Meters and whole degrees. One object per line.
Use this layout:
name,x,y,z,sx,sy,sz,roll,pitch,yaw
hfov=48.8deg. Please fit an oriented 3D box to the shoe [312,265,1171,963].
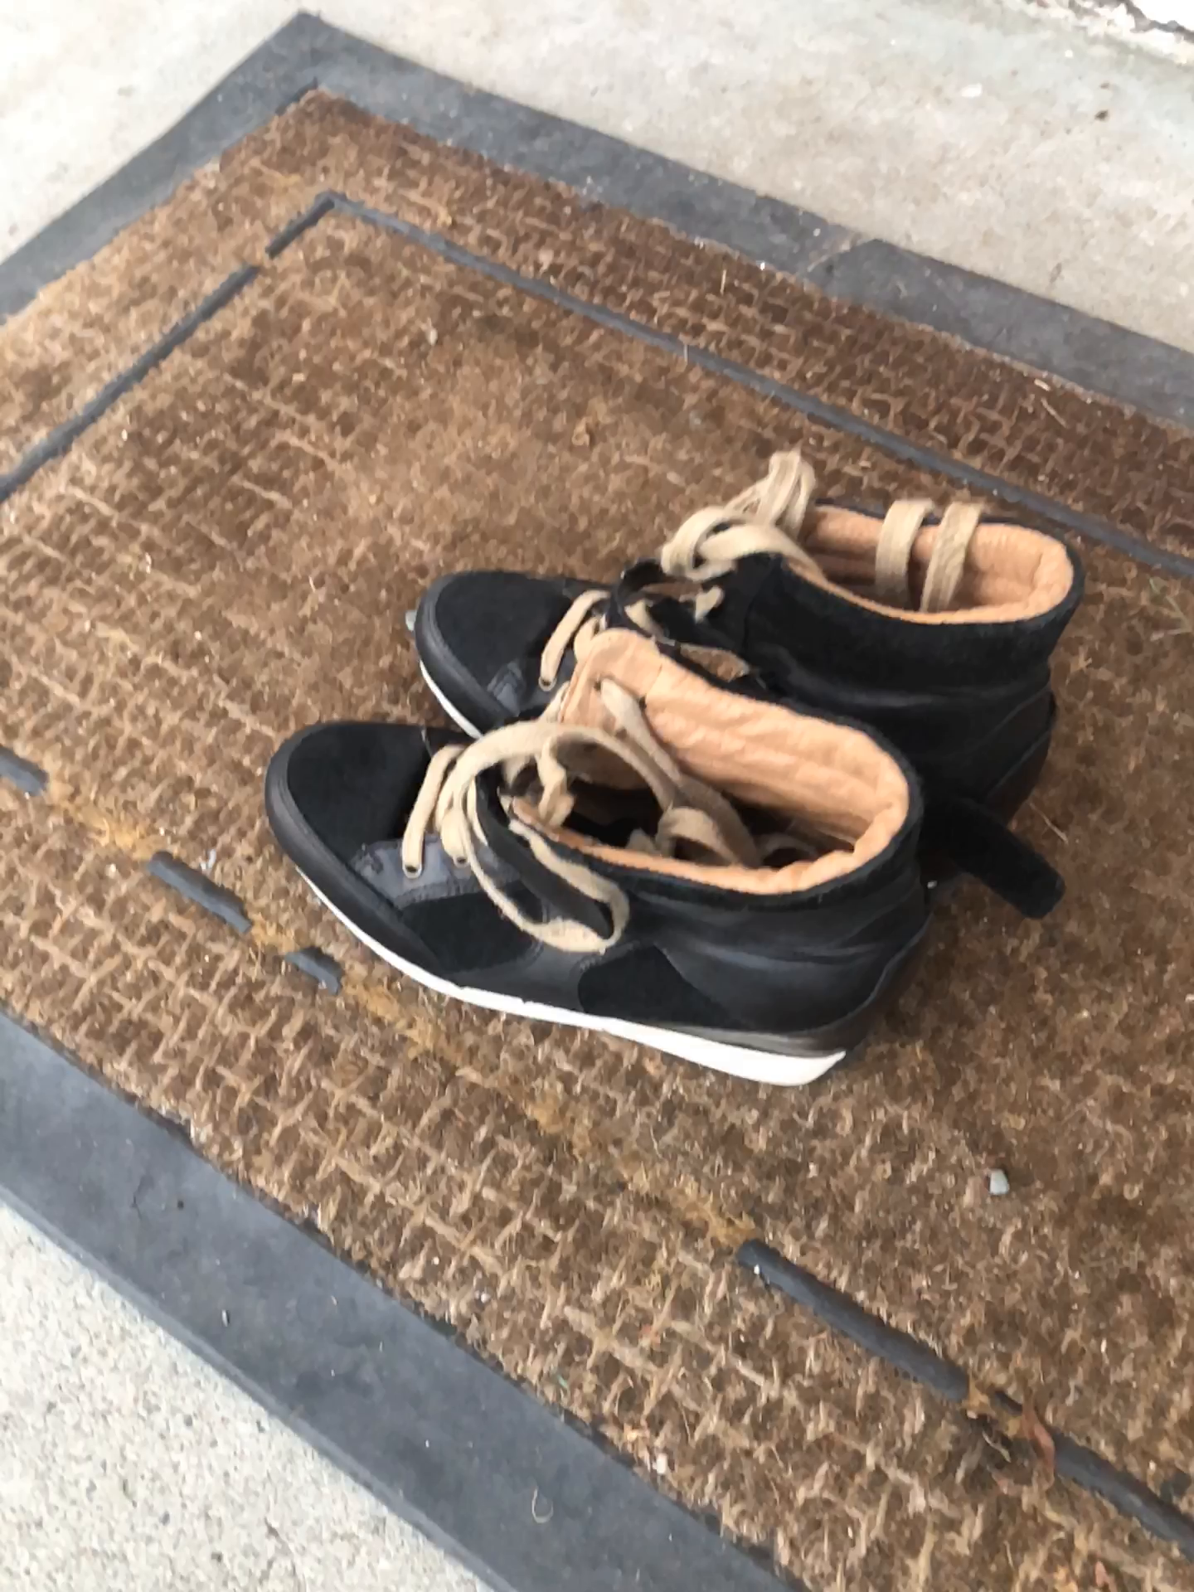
shoe,0.042,-0.057,0.448,0.230,0.159,0.090,21,63,15

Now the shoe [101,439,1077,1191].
shoe,-0.003,0.011,0.412,0.240,0.159,0.090,21,63,15
